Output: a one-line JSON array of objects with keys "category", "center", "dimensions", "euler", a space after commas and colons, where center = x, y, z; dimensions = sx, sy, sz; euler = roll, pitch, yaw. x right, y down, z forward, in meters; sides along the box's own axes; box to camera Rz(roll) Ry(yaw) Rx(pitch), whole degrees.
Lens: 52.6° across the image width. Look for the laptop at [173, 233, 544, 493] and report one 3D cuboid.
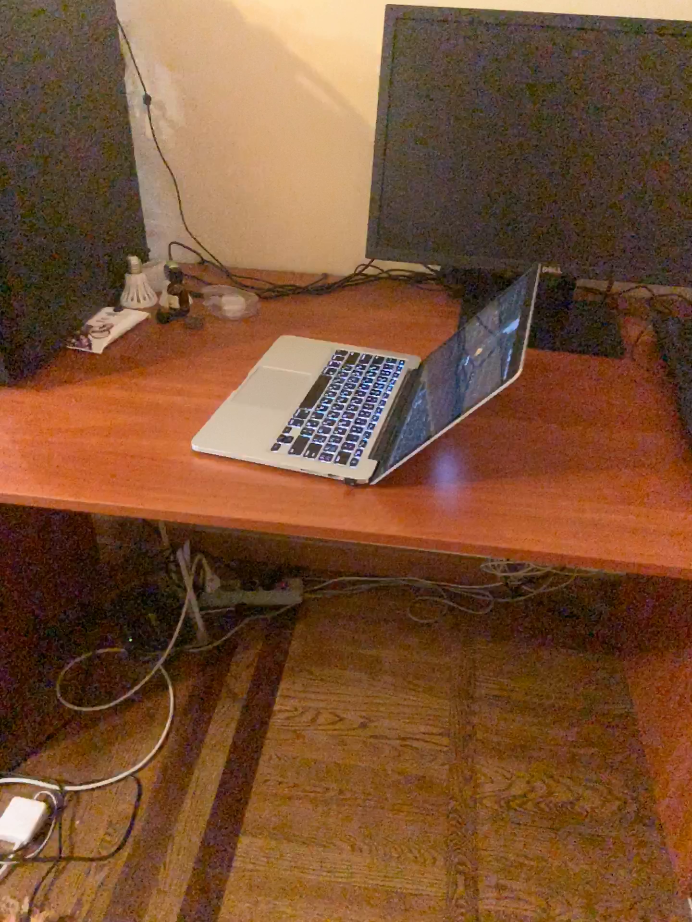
[{"category": "laptop", "center": [0.032, -0.131, 0.796], "dimensions": [0.333, 0.139, 0.287], "euler": [9, 37, 12]}]
